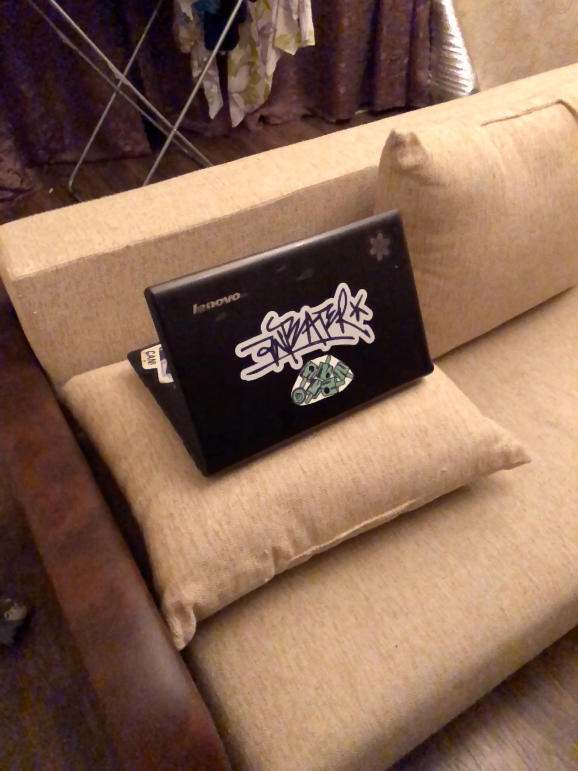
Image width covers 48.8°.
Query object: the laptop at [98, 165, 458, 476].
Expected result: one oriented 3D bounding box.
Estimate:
[{"bbox_3d":[-0.011,-0.116,0.944,0.413,0.222,0.268,-24,52,-25],"label":"laptop"}]
